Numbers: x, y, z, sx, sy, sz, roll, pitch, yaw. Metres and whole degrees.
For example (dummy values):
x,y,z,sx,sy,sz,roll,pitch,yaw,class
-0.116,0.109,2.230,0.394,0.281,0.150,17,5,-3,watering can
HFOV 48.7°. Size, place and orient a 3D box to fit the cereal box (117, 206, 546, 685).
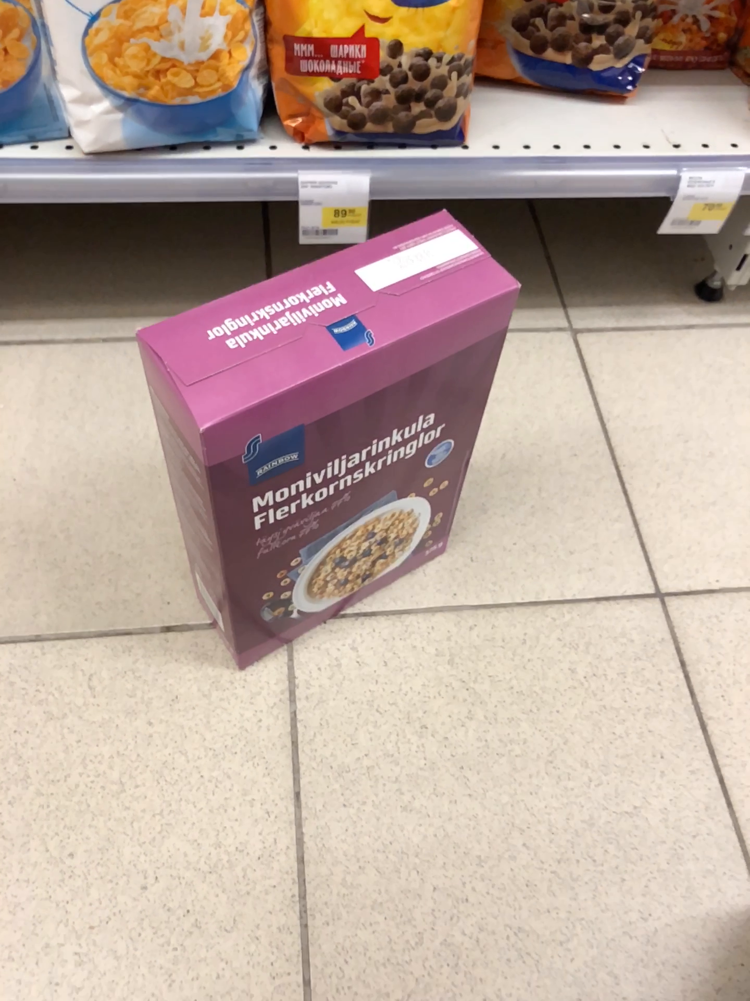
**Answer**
x,y,z,sx,sy,sz,roll,pitch,yaw,class
-0.025,-0.019,0.541,0.210,0.279,0.080,-28,62,-21,cereal box
